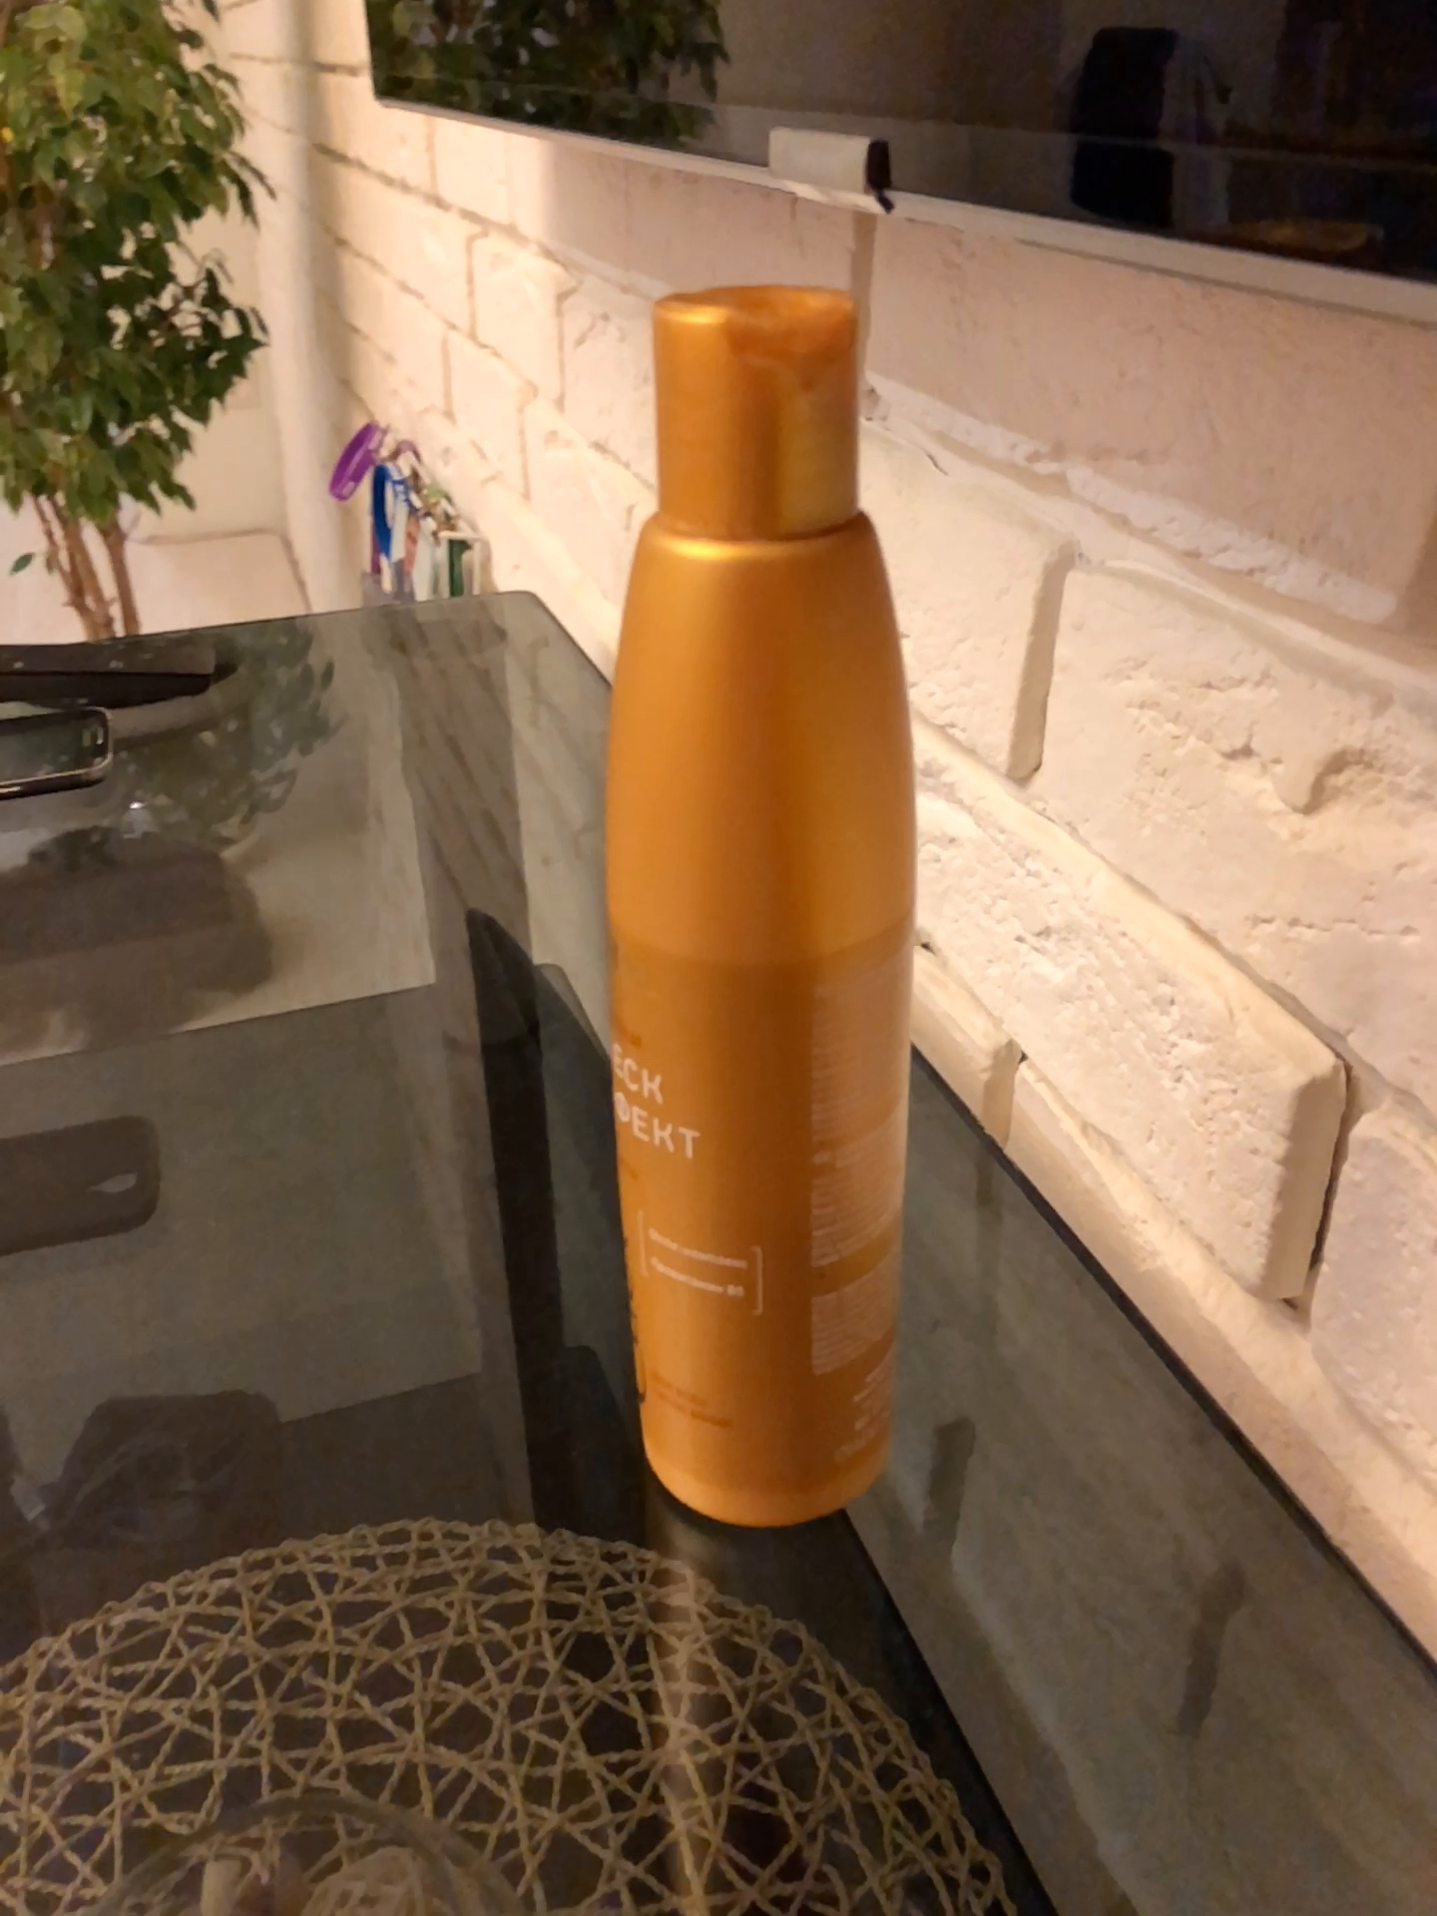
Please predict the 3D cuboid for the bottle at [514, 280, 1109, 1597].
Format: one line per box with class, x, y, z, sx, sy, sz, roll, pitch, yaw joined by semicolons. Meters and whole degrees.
bottle;0.010;0.004;0.251;0.060;0.199;0.050;-12;31;-21
